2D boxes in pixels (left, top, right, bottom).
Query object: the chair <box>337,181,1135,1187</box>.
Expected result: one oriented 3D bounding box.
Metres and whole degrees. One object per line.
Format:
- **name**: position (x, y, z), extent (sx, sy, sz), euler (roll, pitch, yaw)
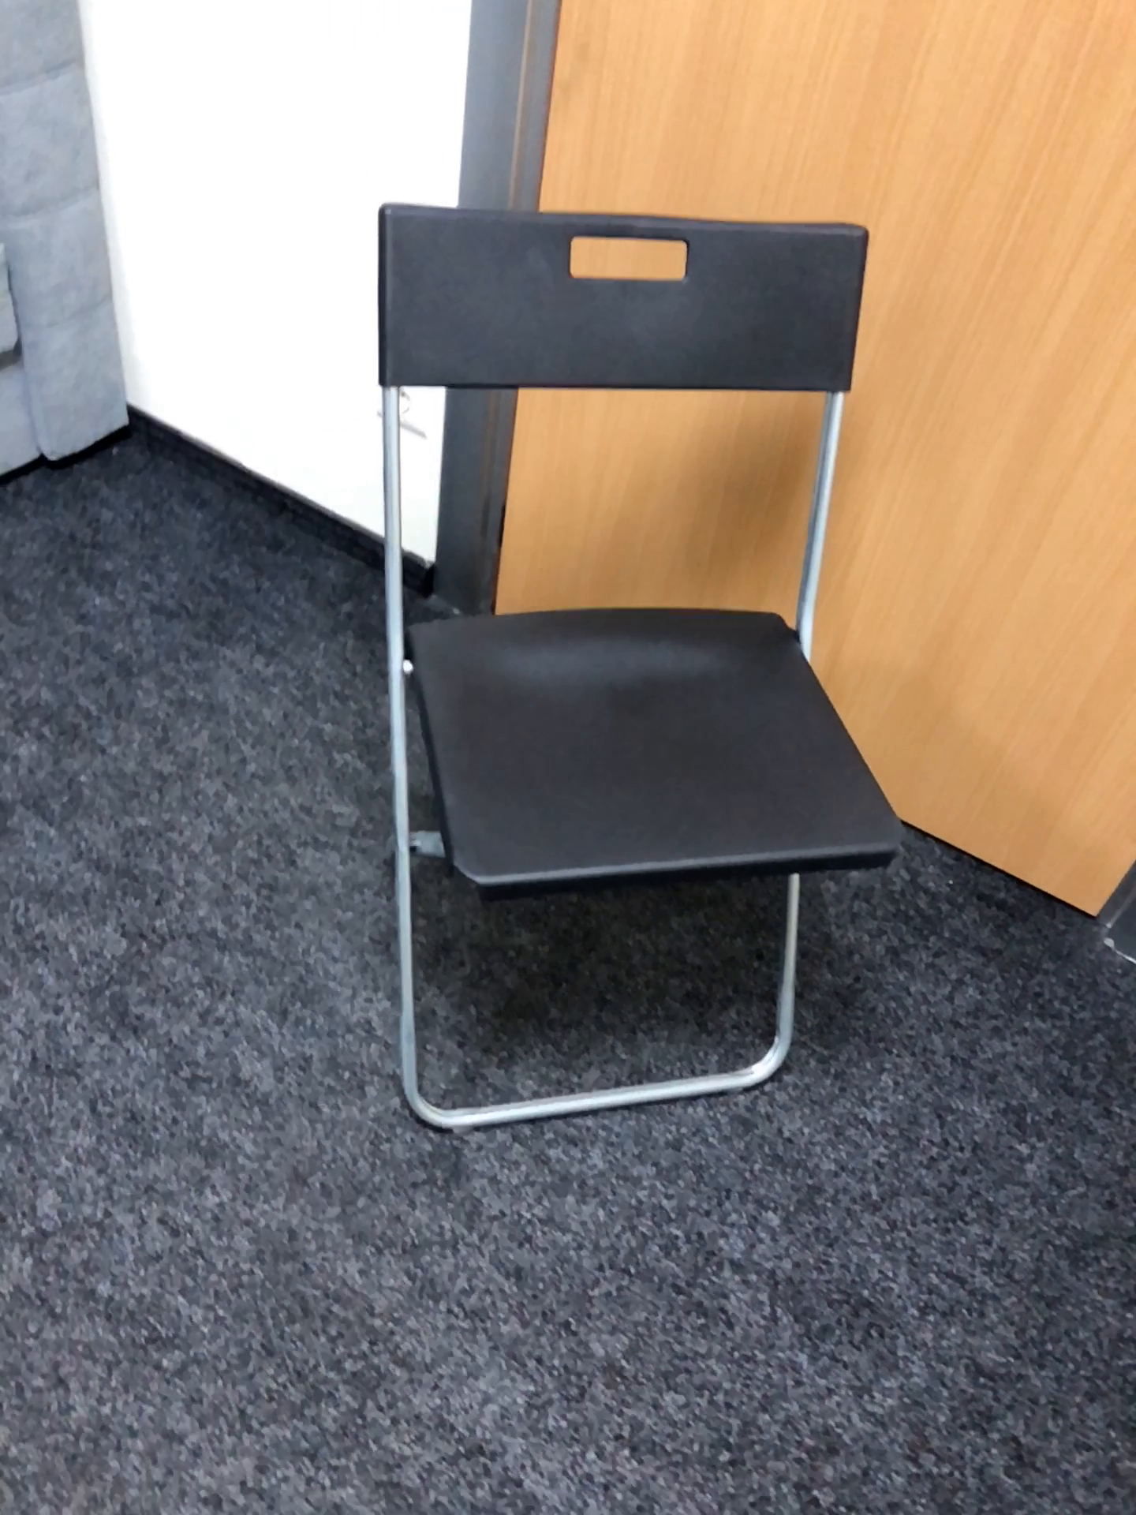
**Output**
- **chair**: position (0.054, -0.038, 1.122), extent (0.480, 0.725, 0.483), euler (-3, 47, -14)
